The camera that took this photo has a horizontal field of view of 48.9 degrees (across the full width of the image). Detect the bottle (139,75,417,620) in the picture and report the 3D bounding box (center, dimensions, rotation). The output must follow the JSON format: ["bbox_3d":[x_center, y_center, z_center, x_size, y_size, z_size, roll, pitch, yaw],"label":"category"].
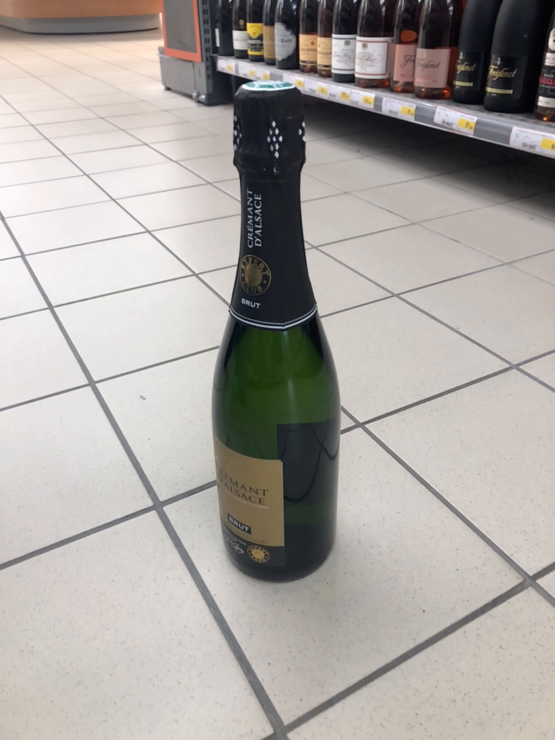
[{"bbox_3d":[0.003,-0.004,0.375,0.100,0.308,0.090,25,40,36],"label":"bottle"}]
